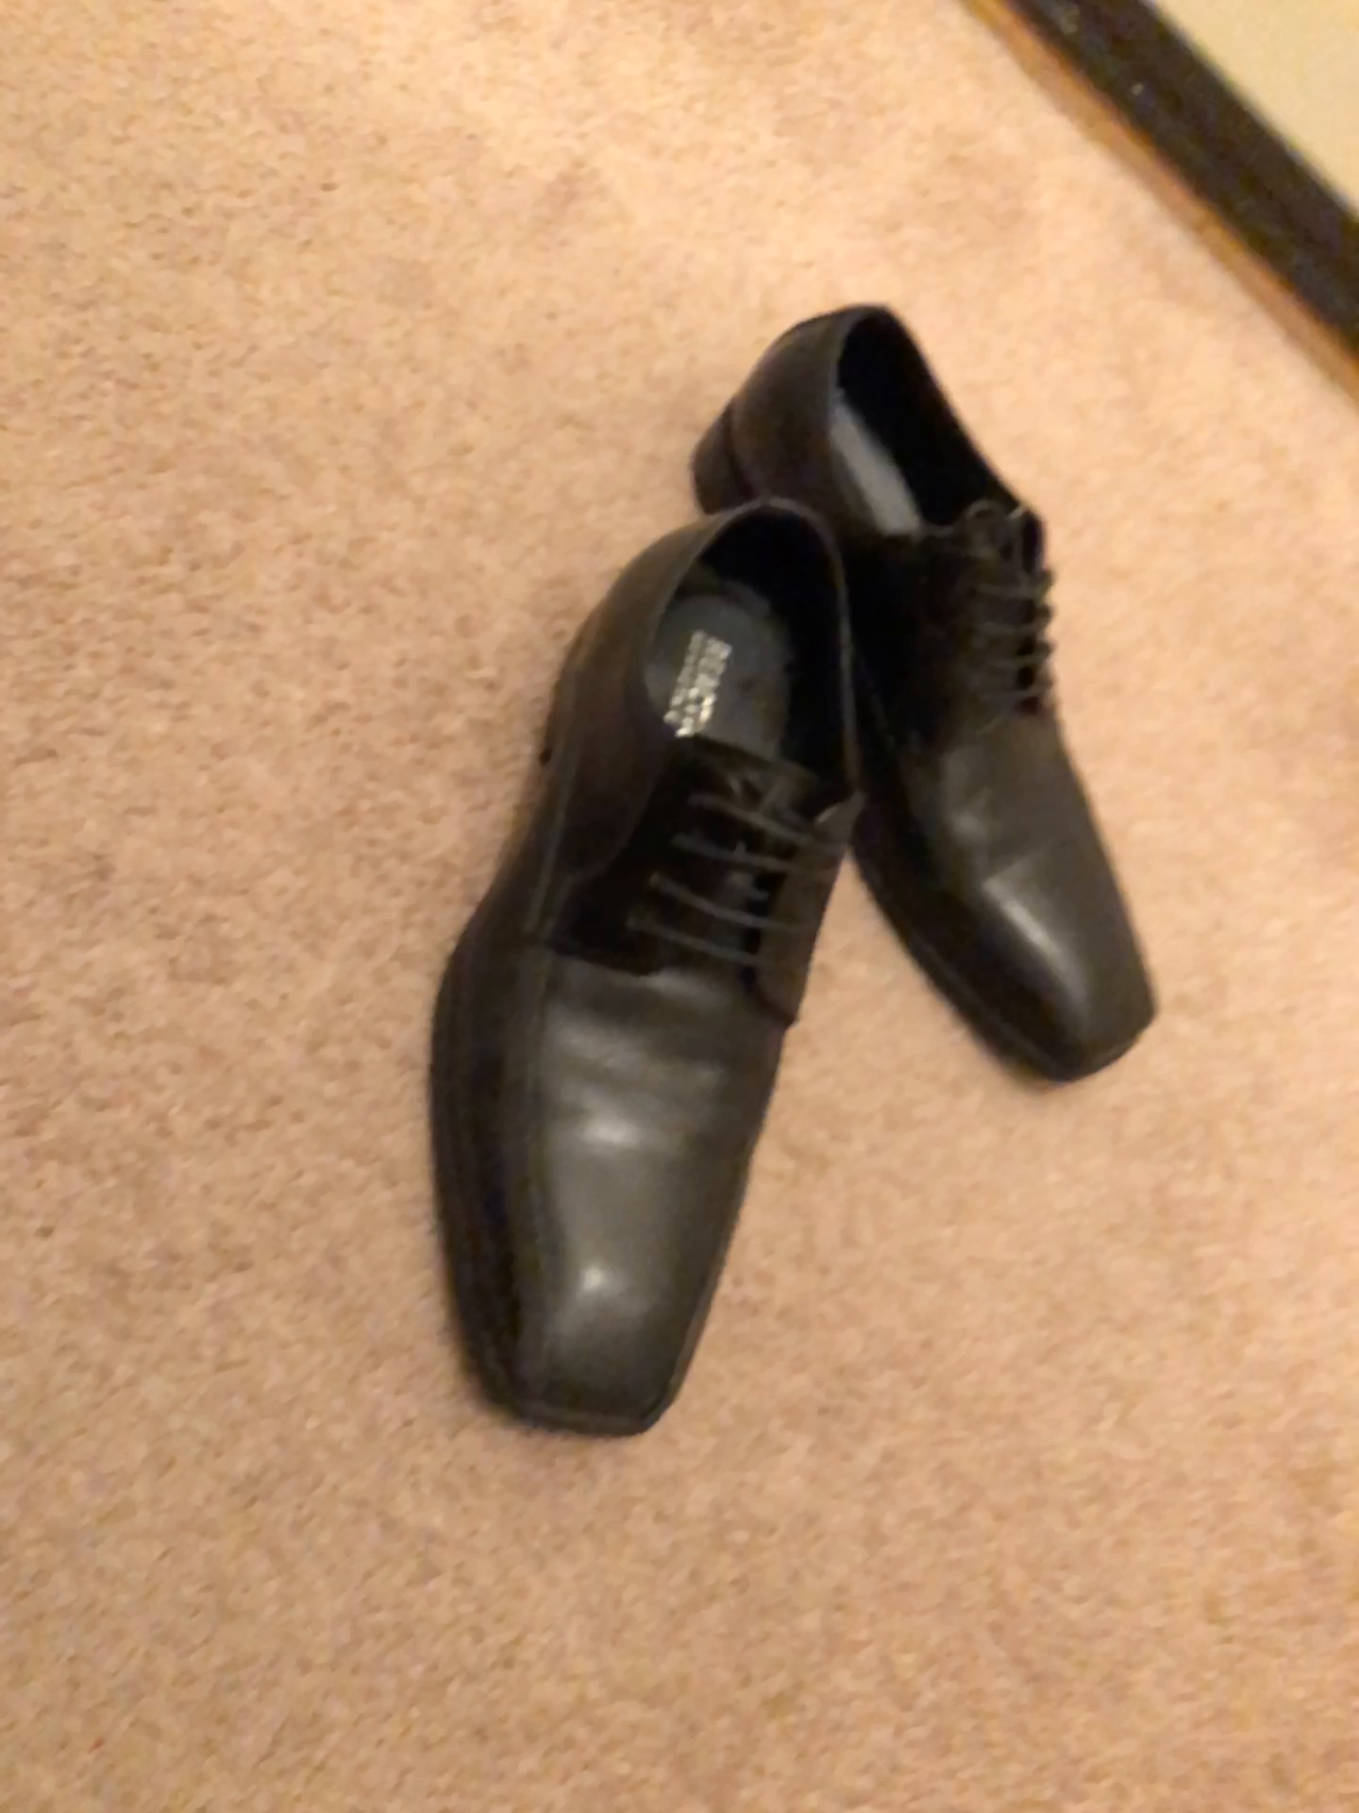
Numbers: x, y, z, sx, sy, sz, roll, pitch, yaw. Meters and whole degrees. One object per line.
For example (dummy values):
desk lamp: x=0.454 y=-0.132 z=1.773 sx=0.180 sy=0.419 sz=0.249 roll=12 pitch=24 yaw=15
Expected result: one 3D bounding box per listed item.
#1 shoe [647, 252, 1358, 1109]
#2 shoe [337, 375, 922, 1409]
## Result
shoe: x=0.117 y=-0.091 z=0.587 sx=0.116 sy=0.110 sz=0.297 roll=-18 pitch=78 yaw=-32
shoe: x=-0.008 y=-0.004 z=0.472 sx=0.110 sy=0.107 sz=0.284 roll=18 pitch=62 yaw=-19
